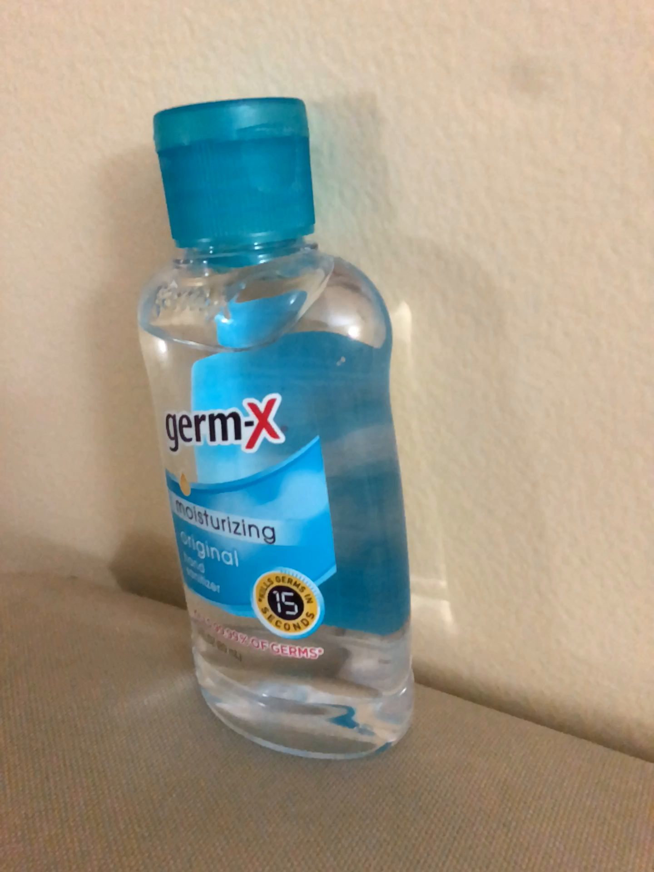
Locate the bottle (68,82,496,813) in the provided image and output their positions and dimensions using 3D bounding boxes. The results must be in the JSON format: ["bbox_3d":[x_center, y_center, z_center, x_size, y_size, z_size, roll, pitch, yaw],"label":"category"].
[{"bbox_3d":[-0.006,0.002,0.133,0.060,0.110,0.030,9,22,31],"label":"bottle"}]
